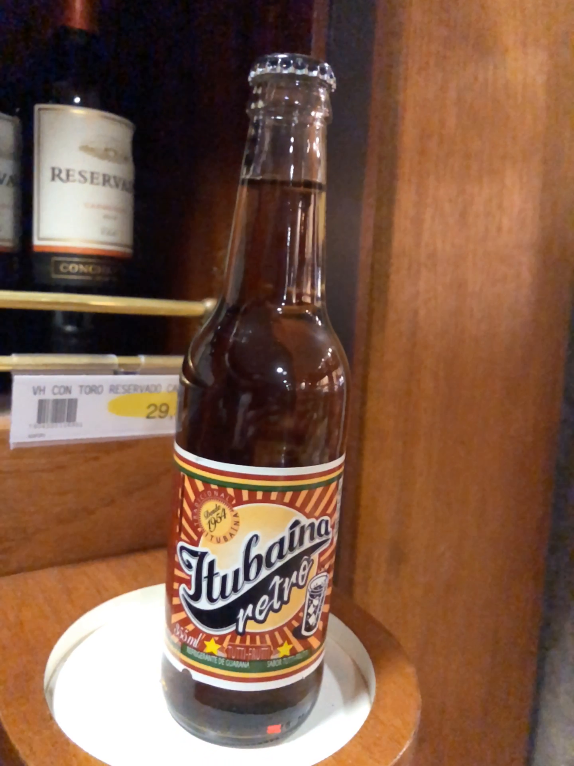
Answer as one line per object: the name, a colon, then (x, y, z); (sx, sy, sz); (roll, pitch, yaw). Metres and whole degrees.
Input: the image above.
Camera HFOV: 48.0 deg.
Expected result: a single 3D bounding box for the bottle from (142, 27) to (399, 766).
bottle: (-0.013, 0.010, 0.255); (0.070, 0.250, 0.070); (3, 5, 0)
